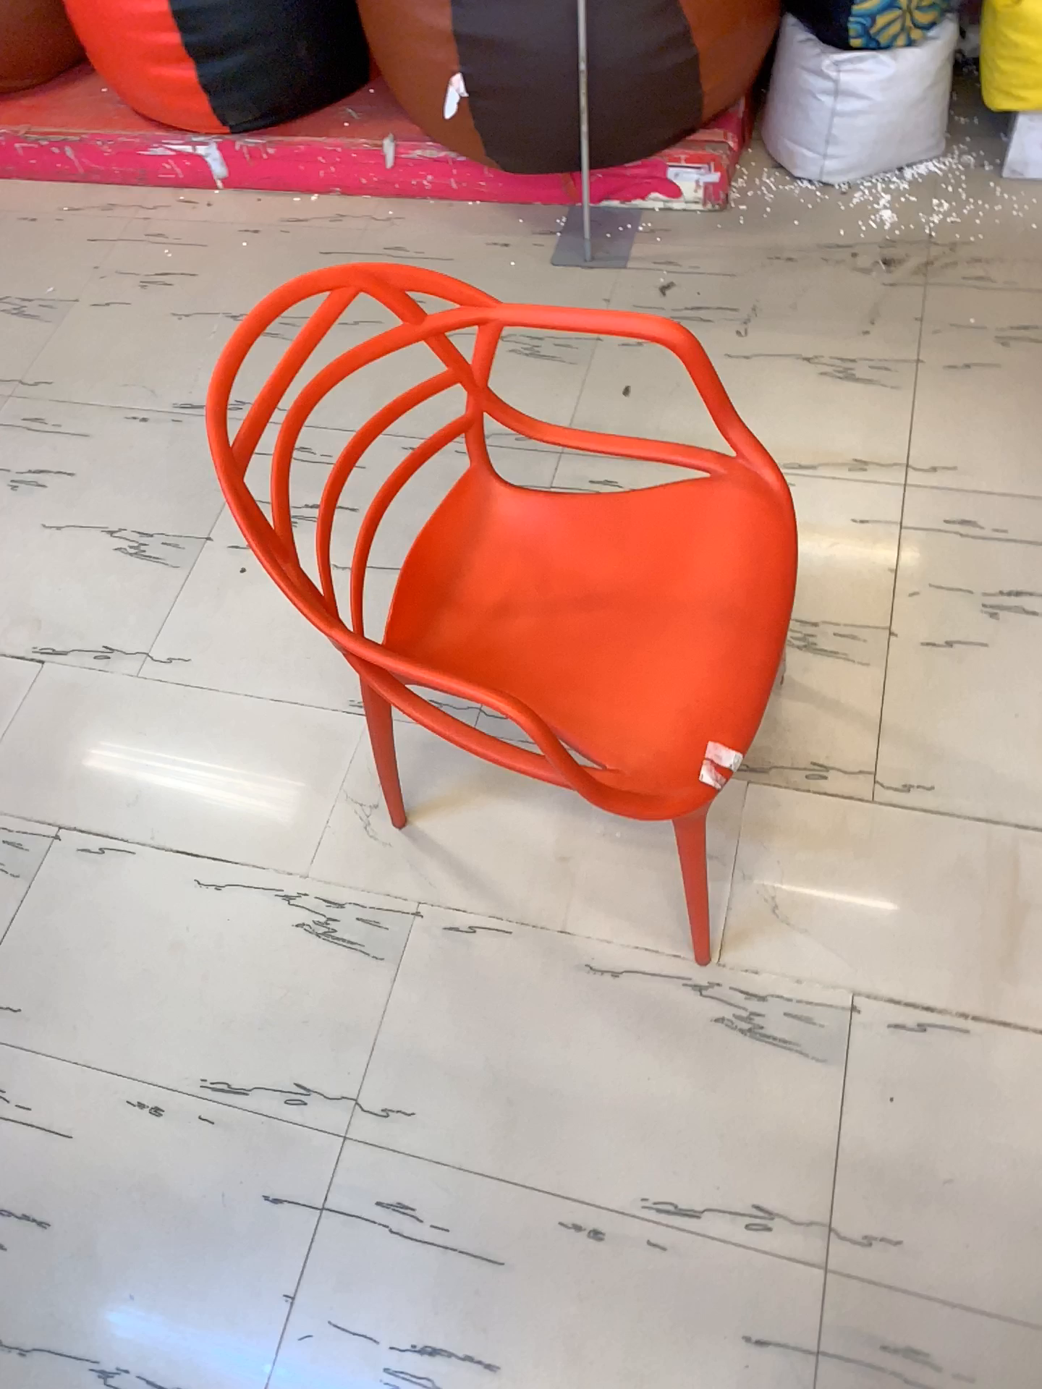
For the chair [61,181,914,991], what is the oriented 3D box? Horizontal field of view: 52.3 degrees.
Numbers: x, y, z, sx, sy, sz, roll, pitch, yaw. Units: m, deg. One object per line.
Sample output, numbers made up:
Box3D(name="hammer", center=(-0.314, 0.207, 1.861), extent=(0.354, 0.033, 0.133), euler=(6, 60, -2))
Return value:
Box3D(name="chair", center=(0.031, -0.104, 1.230), extent=(0.631, 0.656, 0.553), euler=(12, 61, 16))
